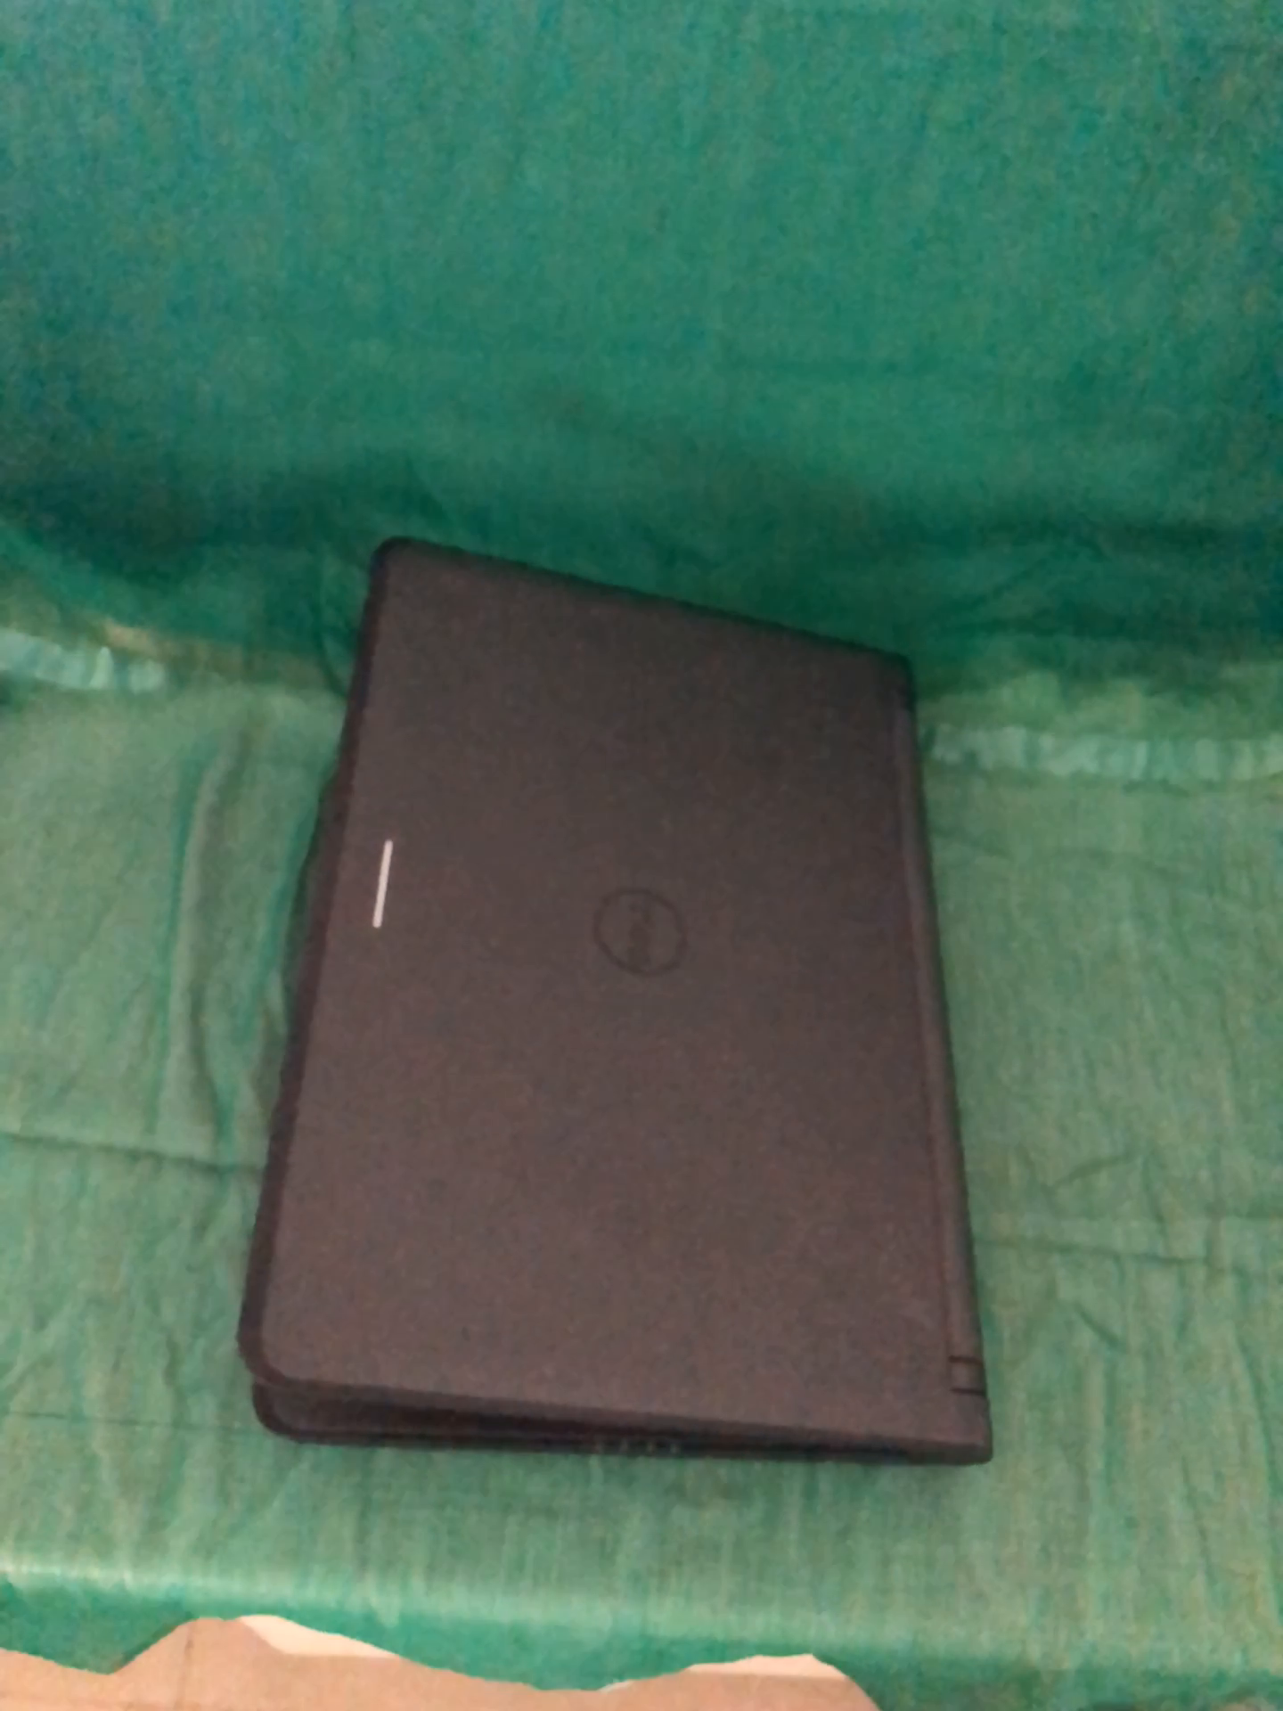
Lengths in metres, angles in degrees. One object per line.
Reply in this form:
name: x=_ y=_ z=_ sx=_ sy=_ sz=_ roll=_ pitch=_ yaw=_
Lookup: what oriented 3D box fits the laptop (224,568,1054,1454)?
laptop: x=0.001 y=0.039 z=0.505 sx=0.229 sy=0.064 sz=0.307 roll=3 pitch=56 yaw=-3
